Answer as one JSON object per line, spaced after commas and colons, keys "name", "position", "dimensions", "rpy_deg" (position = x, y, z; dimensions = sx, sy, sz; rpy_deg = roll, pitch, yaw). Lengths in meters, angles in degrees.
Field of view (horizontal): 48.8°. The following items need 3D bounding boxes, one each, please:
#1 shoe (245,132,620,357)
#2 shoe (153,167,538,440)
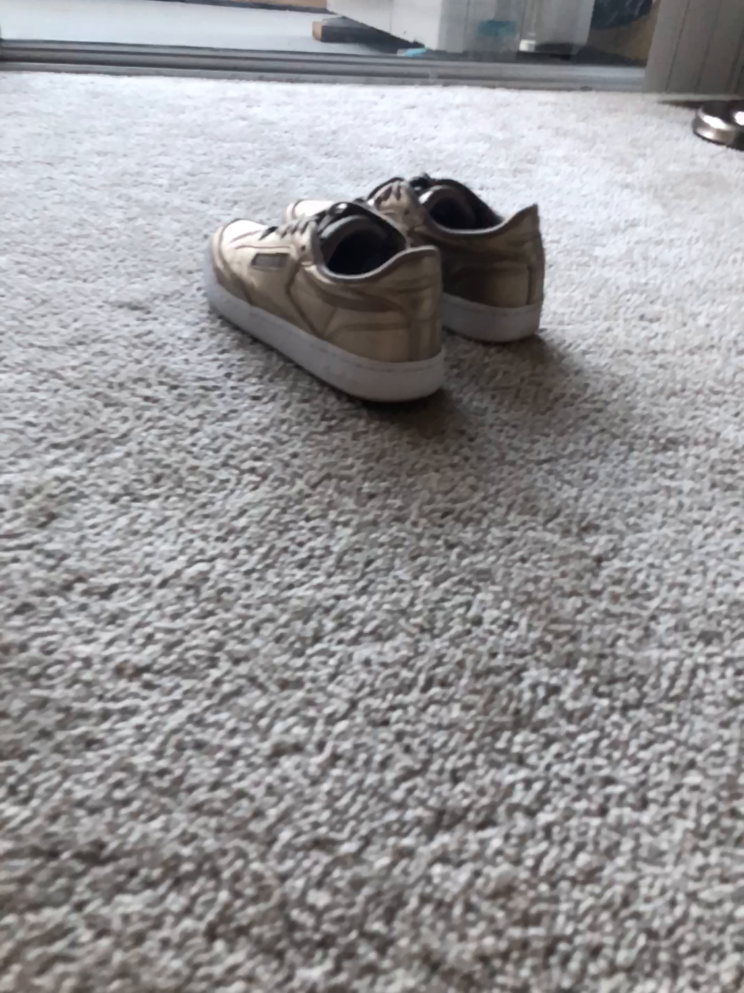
{"name": "shoe", "position": [0.031, -0.205, 0.625], "dimensions": [0.110, 0.070, 0.281], "rpy_deg": [-24, 46, -36]}
{"name": "shoe", "position": [-0.034, -0.147, 0.558], "dimensions": [0.110, 0.070, 0.281], "rpy_deg": [-20, 43, -33]}
